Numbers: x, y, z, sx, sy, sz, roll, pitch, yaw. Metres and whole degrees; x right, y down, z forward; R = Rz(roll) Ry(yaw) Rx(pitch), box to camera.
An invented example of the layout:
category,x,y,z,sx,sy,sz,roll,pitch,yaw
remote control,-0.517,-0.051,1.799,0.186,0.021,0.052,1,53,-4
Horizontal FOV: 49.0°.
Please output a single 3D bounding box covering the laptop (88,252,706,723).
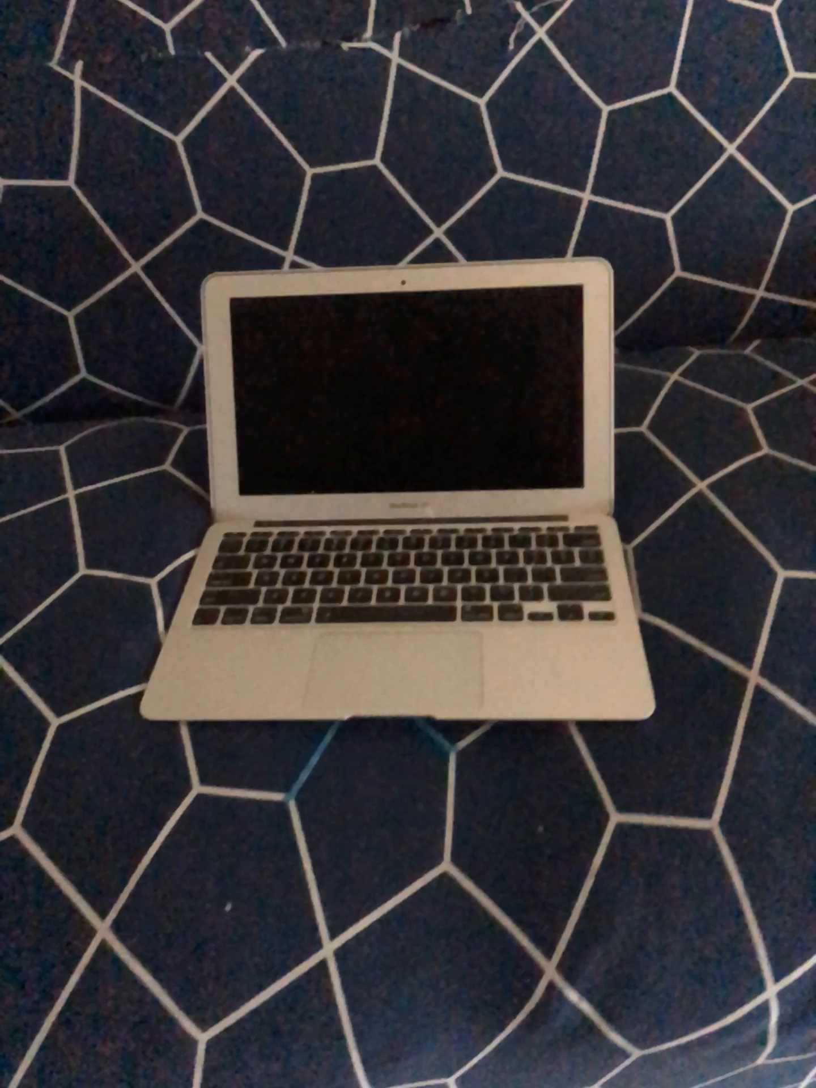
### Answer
category,x,y,z,sx,sy,sz,roll,pitch,yaw
laptop,0.000,-0.053,0.561,0.281,0.156,0.281,0,37,3
